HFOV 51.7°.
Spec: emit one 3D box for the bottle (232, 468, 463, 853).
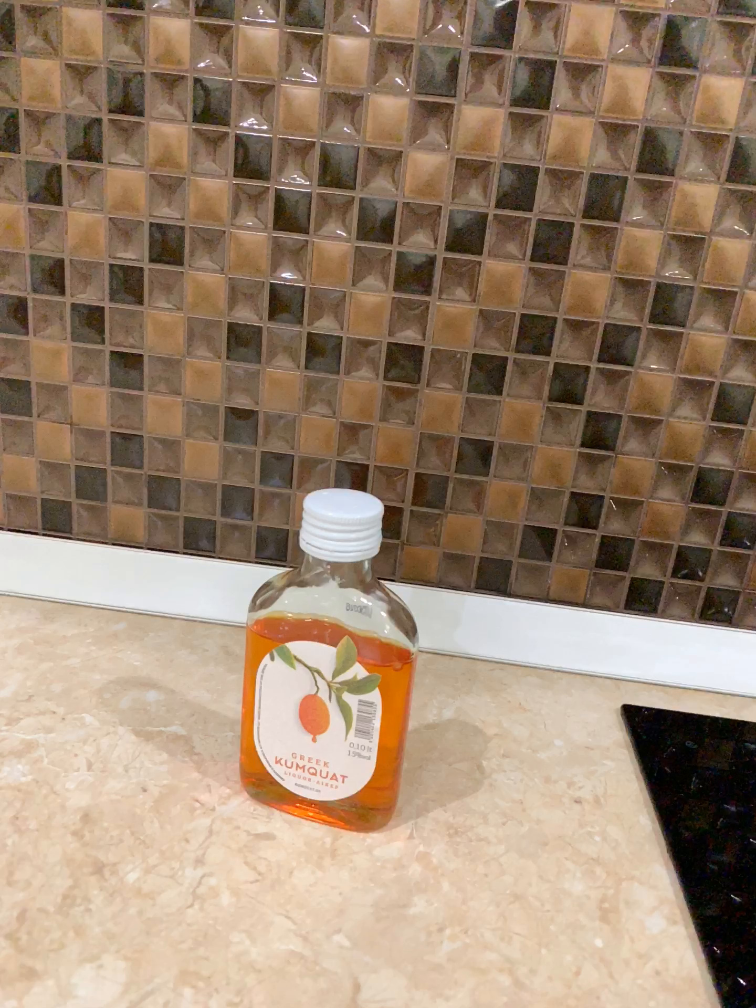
[{"bbox_3d":[-0.014,0.061,0.309,0.070,0.133,0.040,12,20,14],"label":"bottle"}]
